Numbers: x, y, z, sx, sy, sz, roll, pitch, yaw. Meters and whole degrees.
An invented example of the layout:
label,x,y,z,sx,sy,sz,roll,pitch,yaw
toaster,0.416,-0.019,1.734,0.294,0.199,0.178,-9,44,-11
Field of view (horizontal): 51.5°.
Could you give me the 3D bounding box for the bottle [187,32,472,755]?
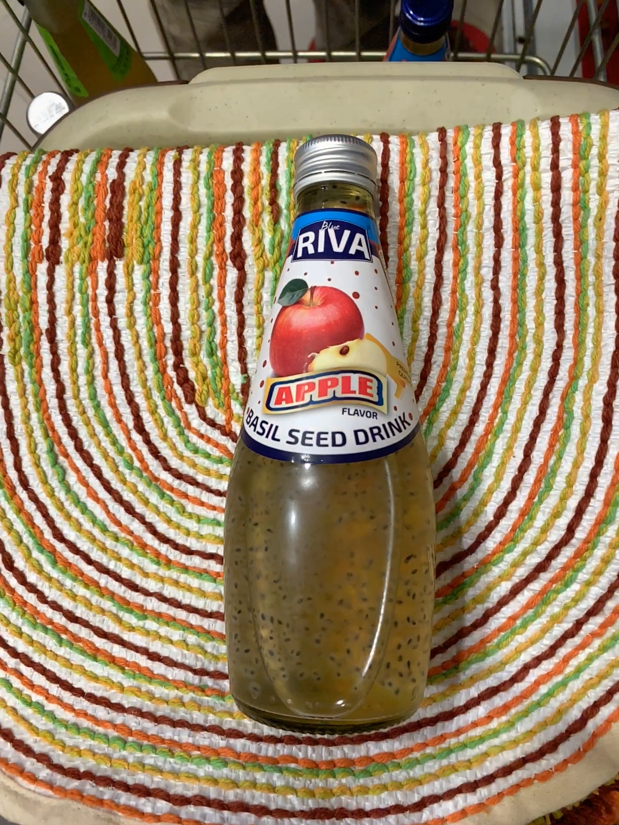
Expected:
label,x,y,z,sx,sy,sz,roll,pitch,yaw
bottle,0.010,-0.012,0.201,0.070,0.050,0.200,1,79,6
